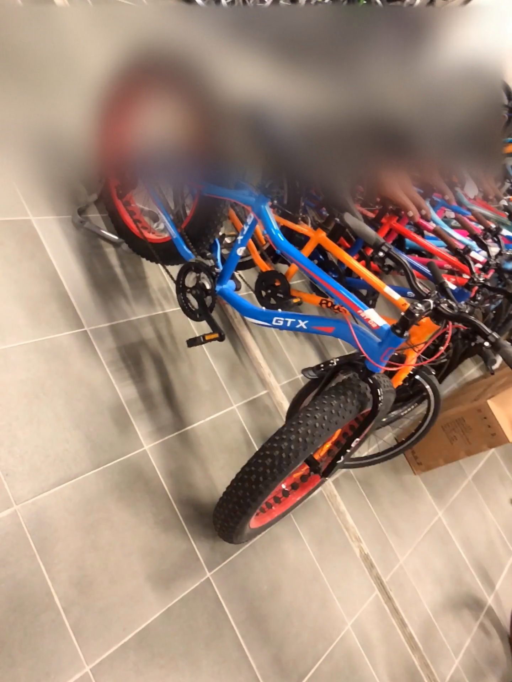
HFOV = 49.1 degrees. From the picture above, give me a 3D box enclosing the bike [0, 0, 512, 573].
[{"bbox_3d":[-0.071,-0.288,1.628,0.617,1.023,1.467,-19,77,-51],"label":"bike"}]
